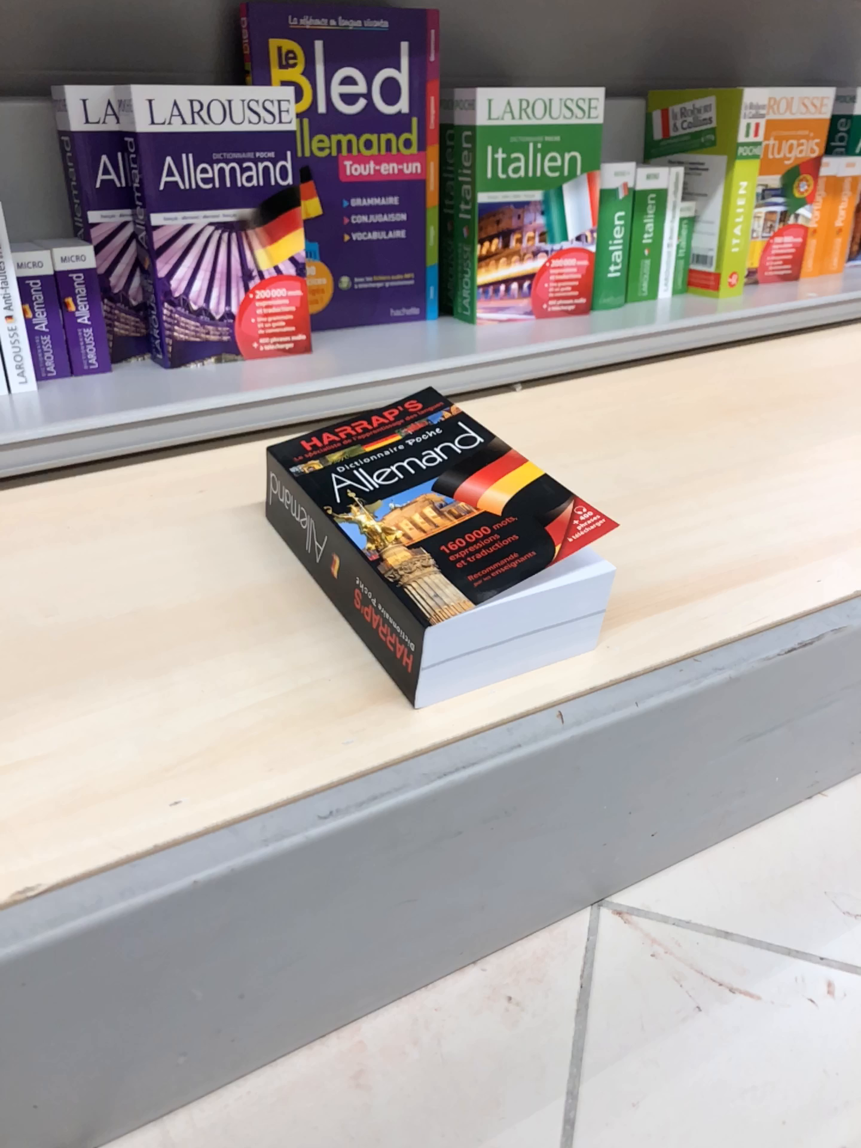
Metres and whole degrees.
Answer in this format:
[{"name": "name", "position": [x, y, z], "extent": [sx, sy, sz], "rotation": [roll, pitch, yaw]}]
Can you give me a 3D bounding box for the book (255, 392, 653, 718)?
[{"name": "book", "position": [0.003, -0.022, 0.493], "extent": [0.123, 0.060, 0.180], "rotation": [-15, 40, -29]}]
